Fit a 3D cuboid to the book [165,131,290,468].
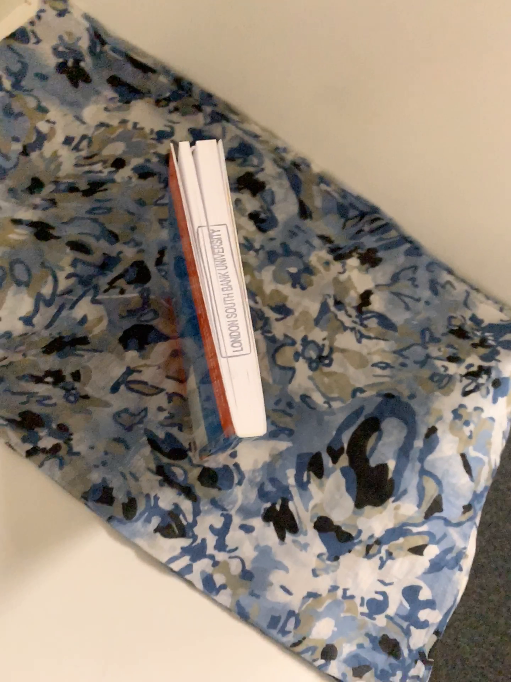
[{"bbox_3d":[-0.030,-0.001,0.320,0.024,0.204,0.140,-9,76,-13],"label":"book"}]
